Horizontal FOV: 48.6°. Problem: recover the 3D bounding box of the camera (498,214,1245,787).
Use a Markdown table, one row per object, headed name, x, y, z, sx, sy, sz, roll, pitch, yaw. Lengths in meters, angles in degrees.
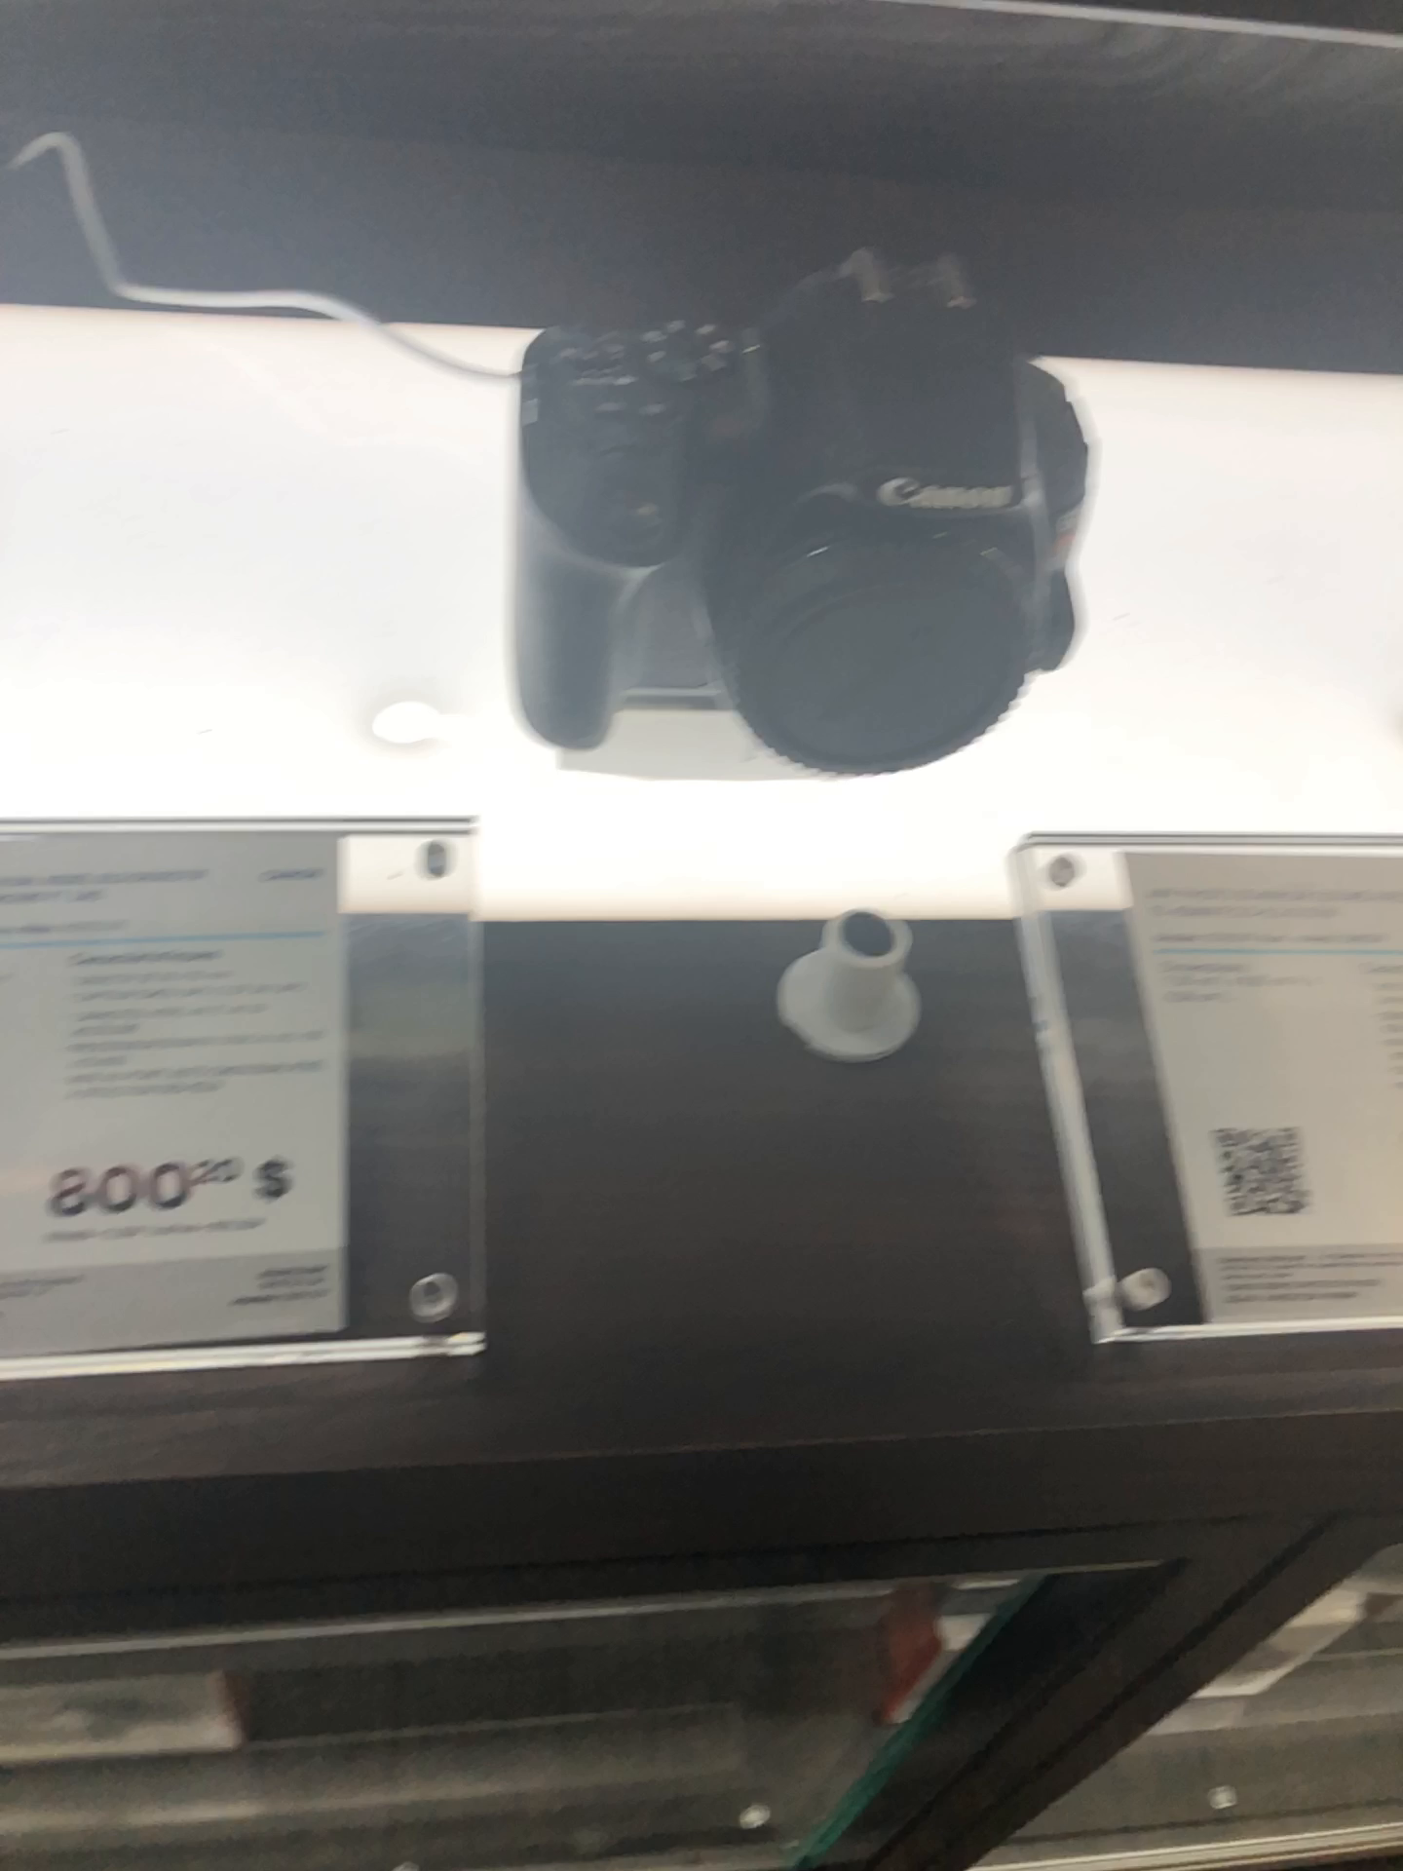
| name | x | y | z | sx | sy | sz | roll | pitch | yaw |
| --- | --- | --- | --- | --- | --- | --- | --- | --- | --- |
| camera | 0.023 | -0.084 | 0.306 | 0.123 | 0.071 | 0.081 | 0 | 50 | -9 |
